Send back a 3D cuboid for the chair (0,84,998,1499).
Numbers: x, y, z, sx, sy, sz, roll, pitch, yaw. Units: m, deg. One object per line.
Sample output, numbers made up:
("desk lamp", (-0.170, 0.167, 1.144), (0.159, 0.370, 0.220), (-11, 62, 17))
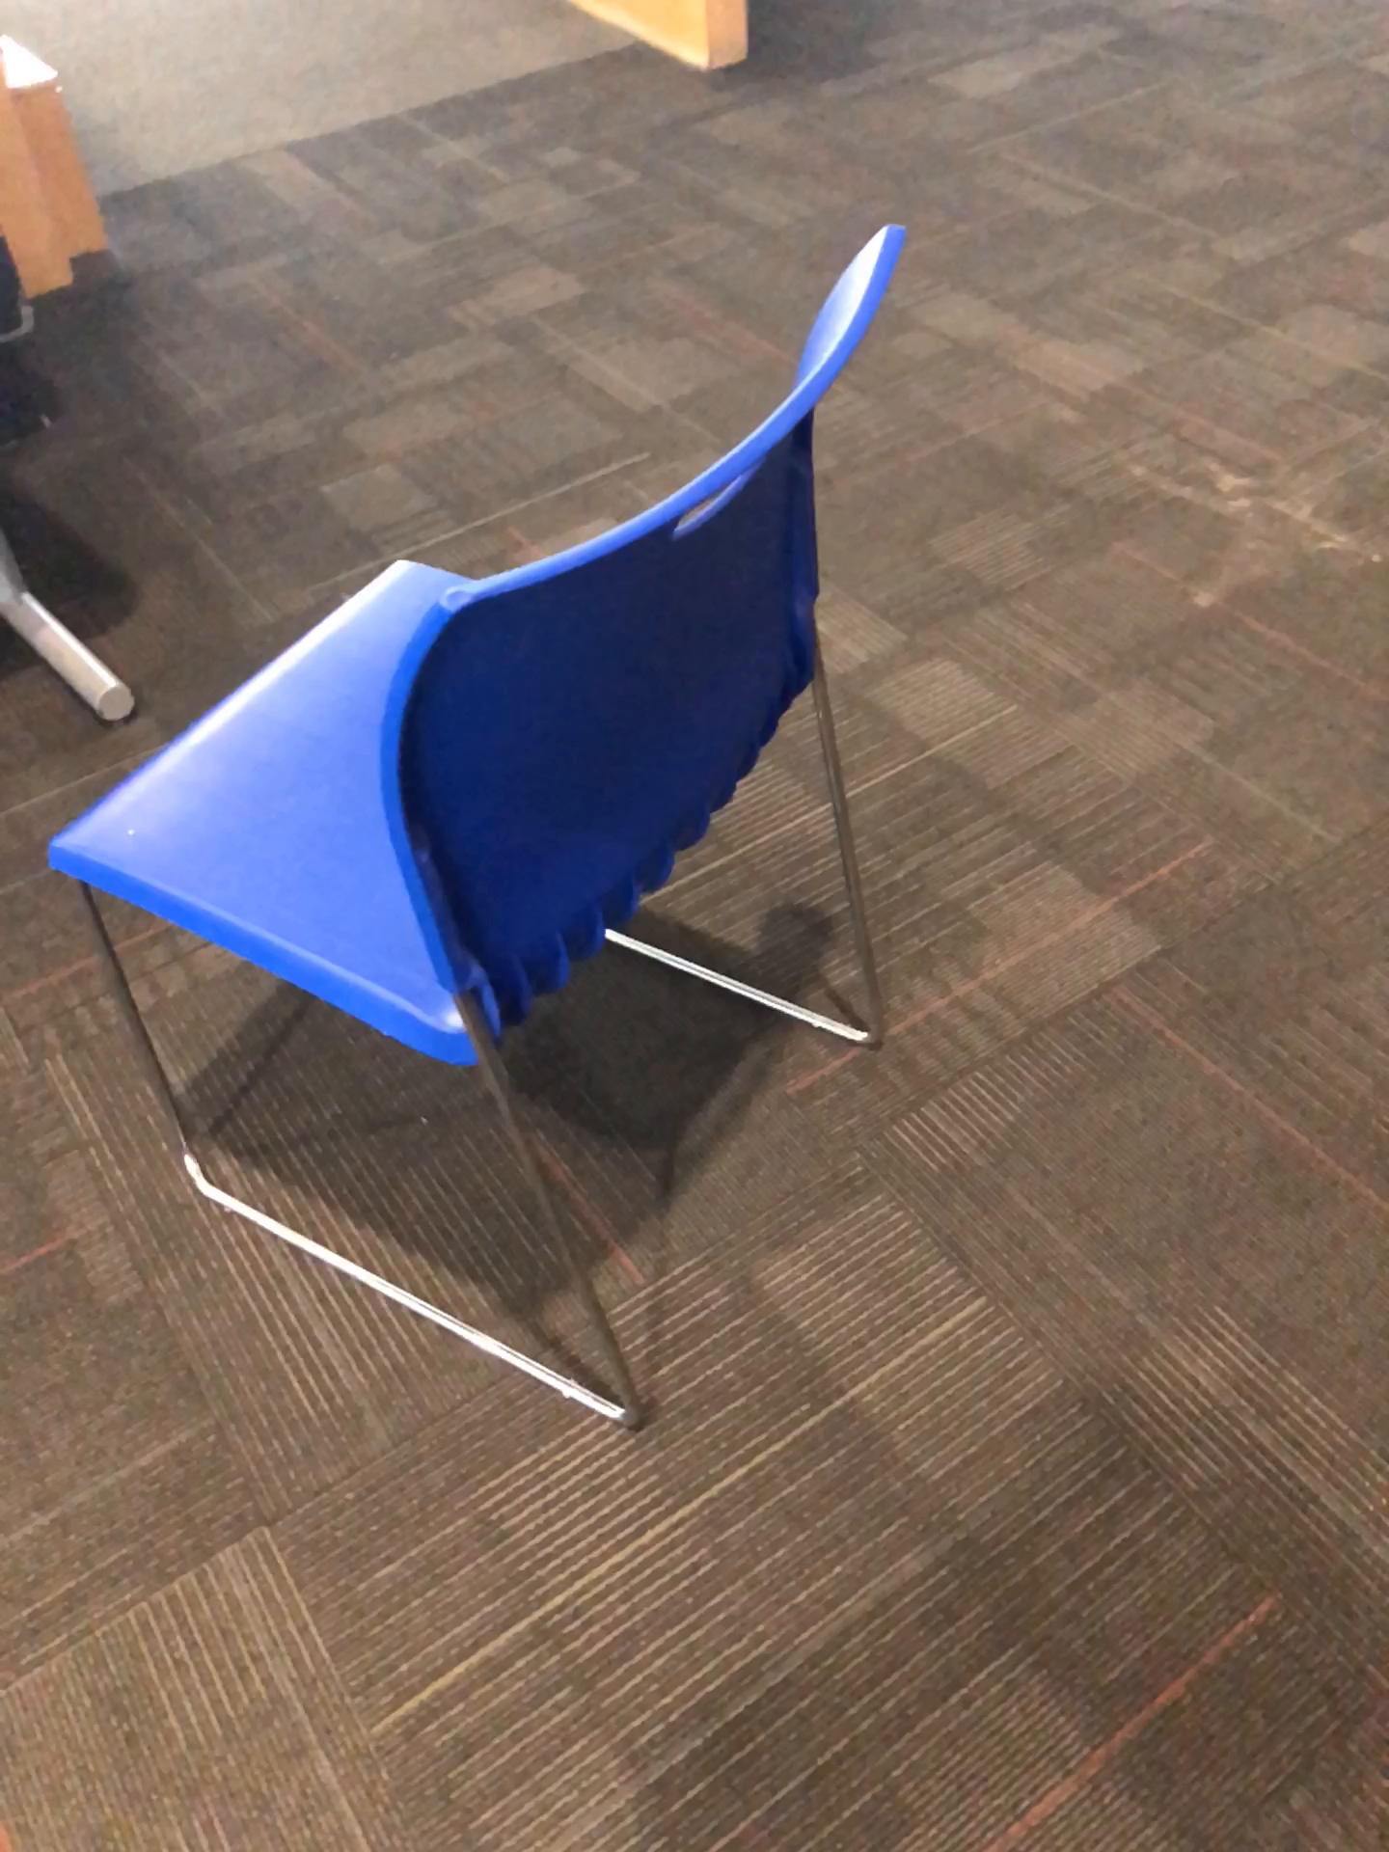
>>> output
("chair", (-0.187, -0.114, 1.178), (0.591, 0.756, 0.581), (21, 50, 23))
